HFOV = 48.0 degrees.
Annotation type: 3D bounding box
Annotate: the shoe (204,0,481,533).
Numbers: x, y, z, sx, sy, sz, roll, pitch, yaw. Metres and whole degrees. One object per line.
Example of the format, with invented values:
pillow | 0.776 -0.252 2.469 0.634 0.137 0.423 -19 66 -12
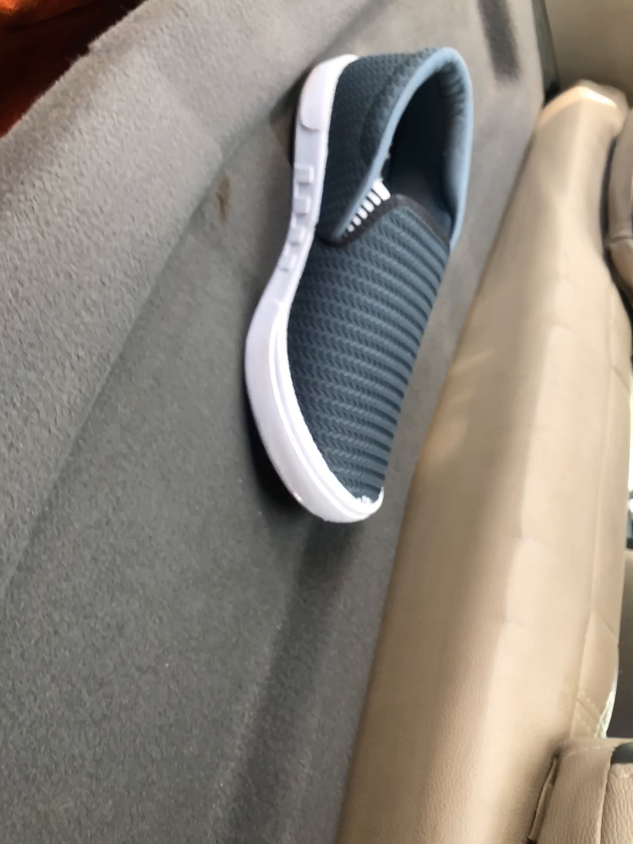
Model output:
shoe | 0.026 -0.087 0.394 0.081 0.089 0.280 39 55 -54
